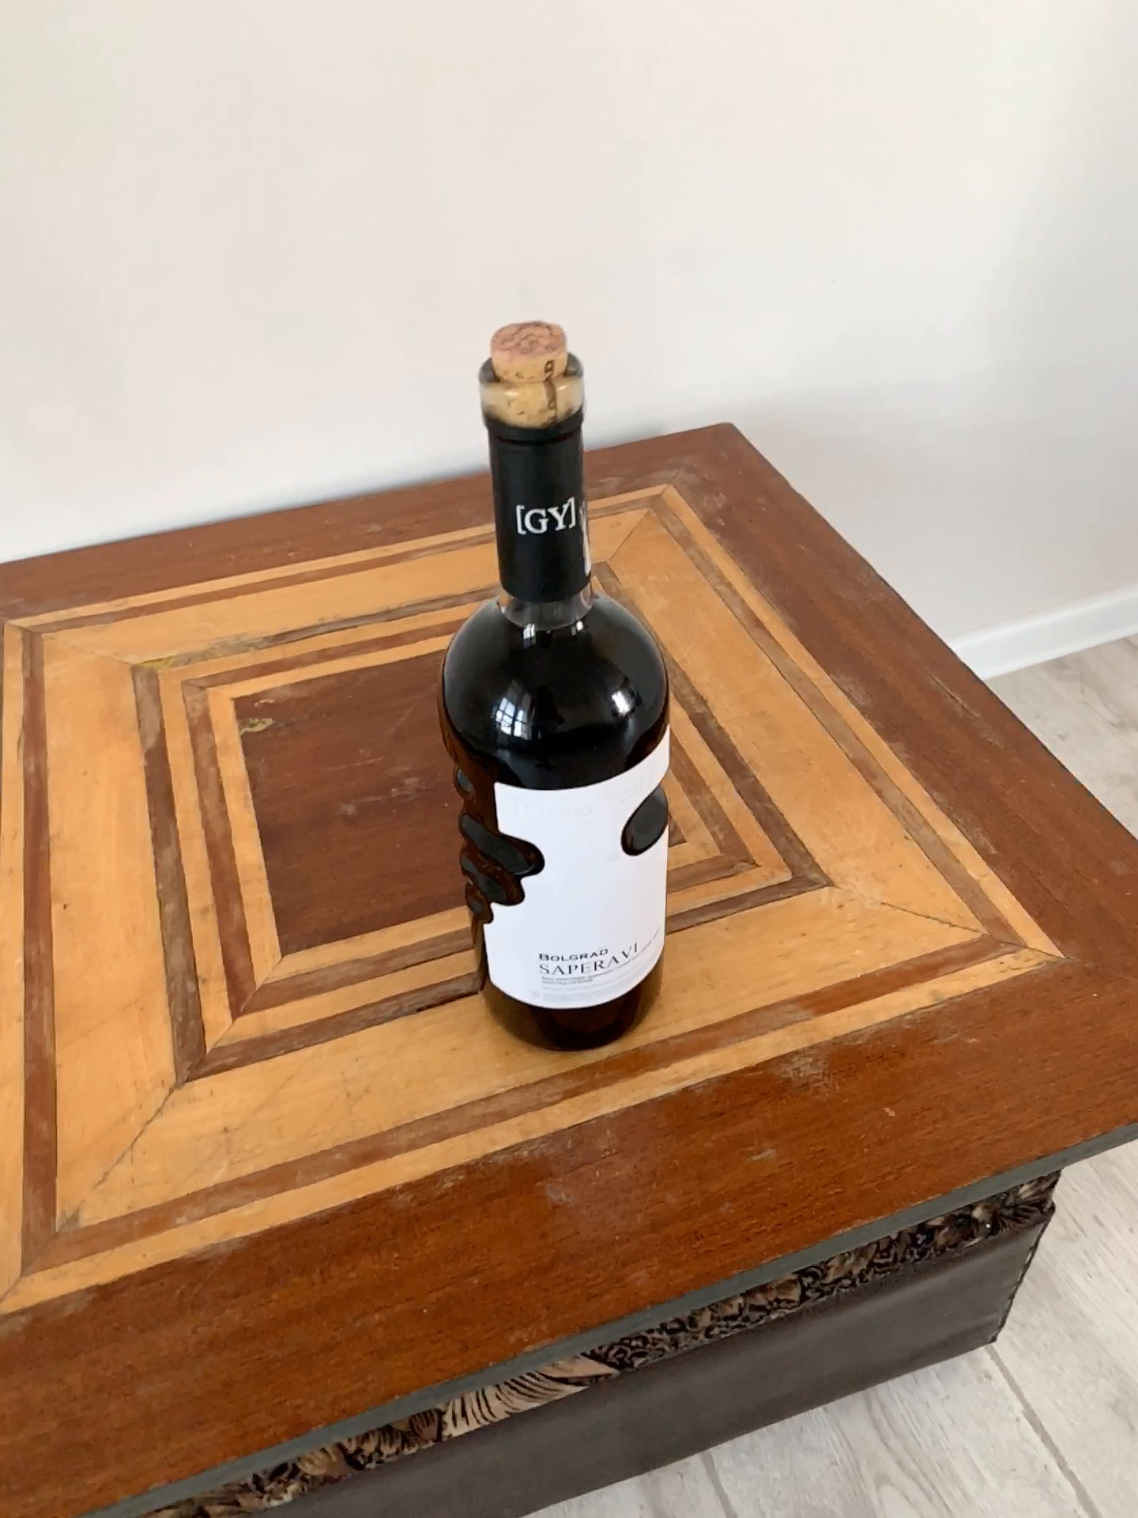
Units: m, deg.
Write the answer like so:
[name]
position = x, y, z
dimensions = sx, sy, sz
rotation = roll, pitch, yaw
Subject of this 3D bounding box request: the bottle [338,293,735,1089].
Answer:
[bottle]
position = -0.006, -0.008, 0.416
dimensions = 0.090, 0.269, 0.090
rotation = -2, 42, 2
